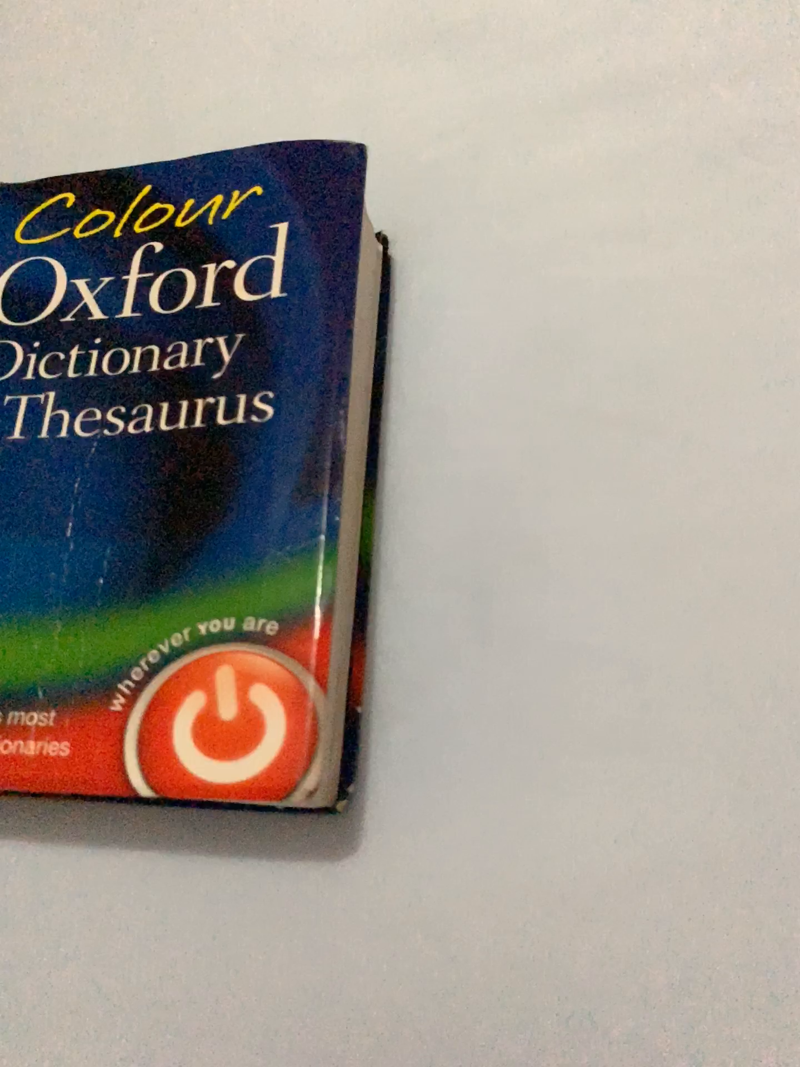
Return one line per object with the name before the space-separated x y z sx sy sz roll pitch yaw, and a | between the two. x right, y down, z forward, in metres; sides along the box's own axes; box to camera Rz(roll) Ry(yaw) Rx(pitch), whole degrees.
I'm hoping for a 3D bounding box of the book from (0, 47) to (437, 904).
book | -0.057 -0.017 0.197 0.120 0.040 0.181 -3 70 17
